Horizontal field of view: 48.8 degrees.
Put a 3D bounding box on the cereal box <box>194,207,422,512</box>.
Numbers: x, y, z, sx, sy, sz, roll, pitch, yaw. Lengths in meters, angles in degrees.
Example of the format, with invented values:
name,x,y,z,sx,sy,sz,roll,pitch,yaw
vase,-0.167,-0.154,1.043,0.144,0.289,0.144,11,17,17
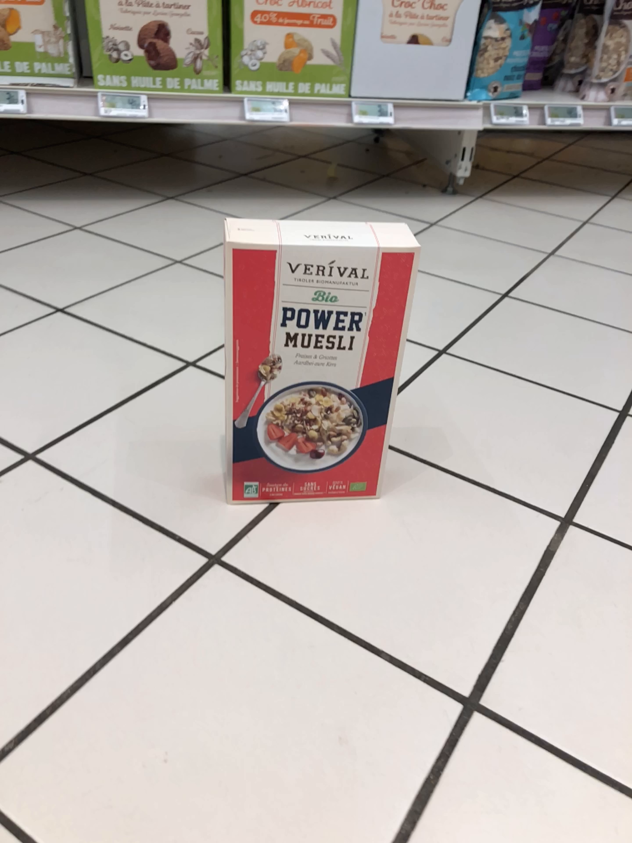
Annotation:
name,x,y,z,sx,sy,sz,roll,pitch,yaw
cereal box,-0.013,-0.036,0.505,0.140,0.219,0.050,0,34,-8
